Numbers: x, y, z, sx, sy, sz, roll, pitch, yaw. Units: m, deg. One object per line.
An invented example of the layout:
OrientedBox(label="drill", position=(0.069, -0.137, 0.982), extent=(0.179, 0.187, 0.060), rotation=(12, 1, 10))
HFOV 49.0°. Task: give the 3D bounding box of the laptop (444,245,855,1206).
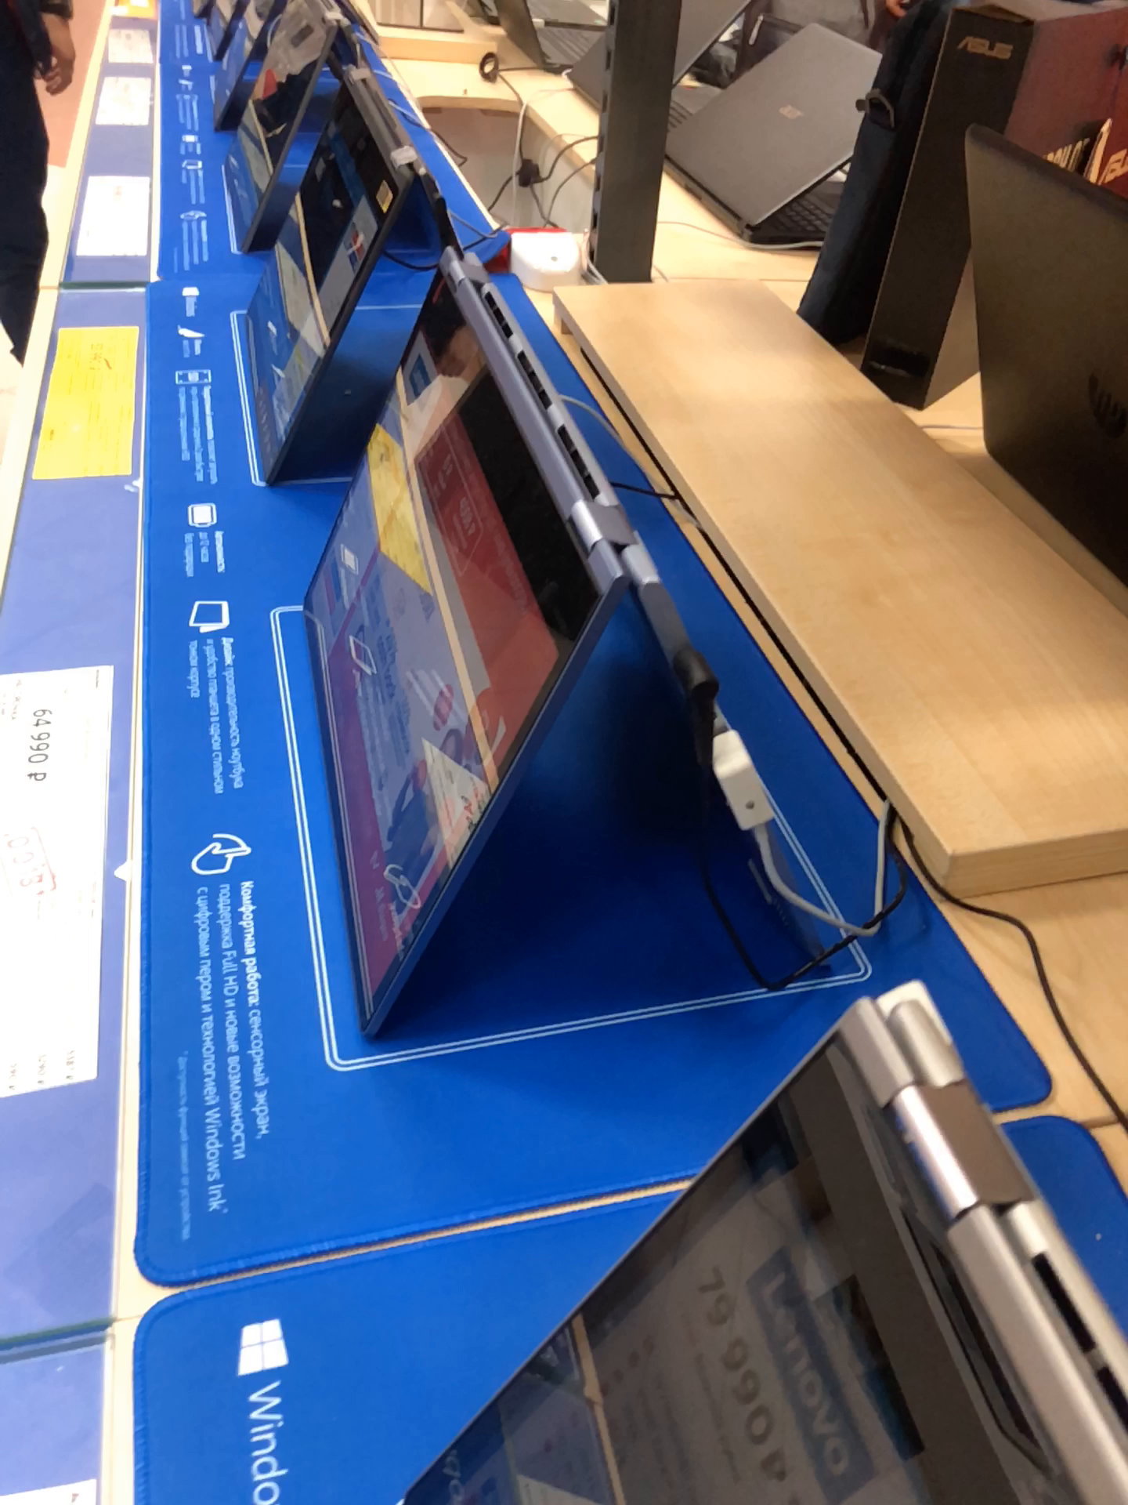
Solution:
OrientedBox(label="laptop", position=(0.030, -0.004, 0.653), extent=(0.221, 0.157, 0.307), rotation=(27, 25, -36))
